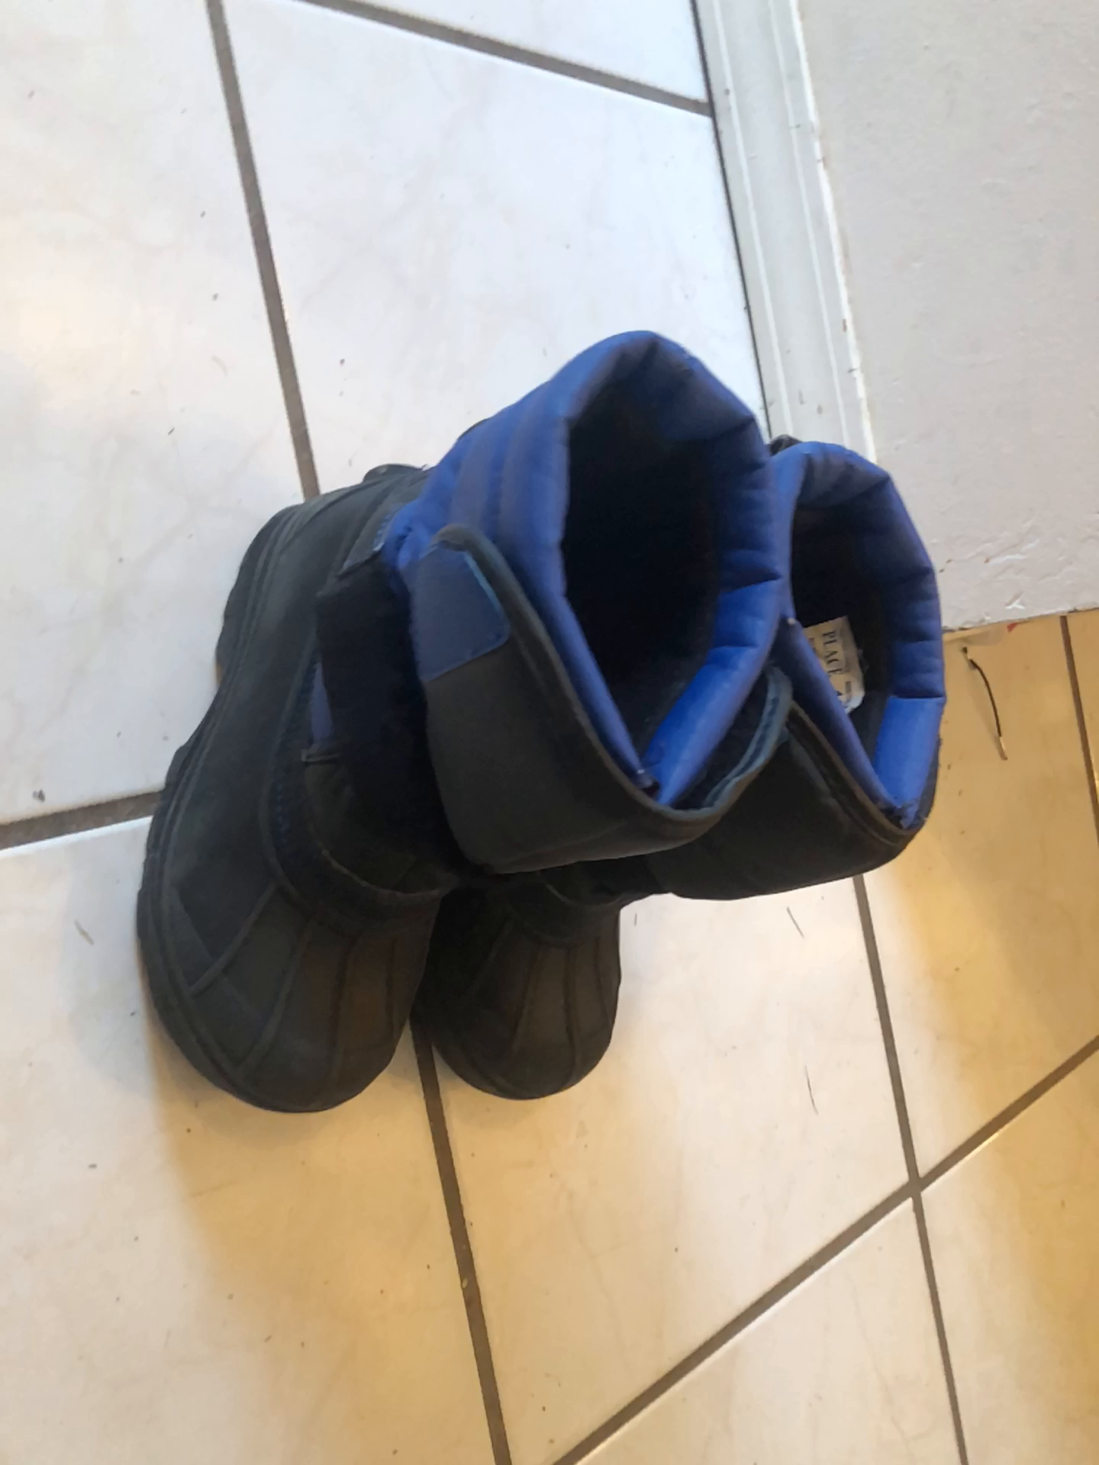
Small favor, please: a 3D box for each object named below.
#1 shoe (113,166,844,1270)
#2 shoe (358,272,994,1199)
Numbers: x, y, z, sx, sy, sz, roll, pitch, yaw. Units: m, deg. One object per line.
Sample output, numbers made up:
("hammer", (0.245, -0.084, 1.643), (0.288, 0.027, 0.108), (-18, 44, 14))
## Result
("shoe", (-0.028, 0.005, 0.354), (0.100, 0.199, 0.230), (11, 77, -40))
("shoe", (0.034, 0.009, 0.429), (0.100, 0.199, 0.250), (8, 78, -41))
